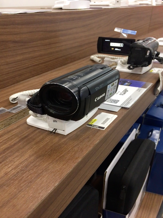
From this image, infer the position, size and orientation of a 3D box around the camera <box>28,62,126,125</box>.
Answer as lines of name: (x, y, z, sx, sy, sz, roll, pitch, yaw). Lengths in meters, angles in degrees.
camera: (0.000, -0.026, 0.284, 0.066, 0.043, 0.107, 18, 33, 30)
